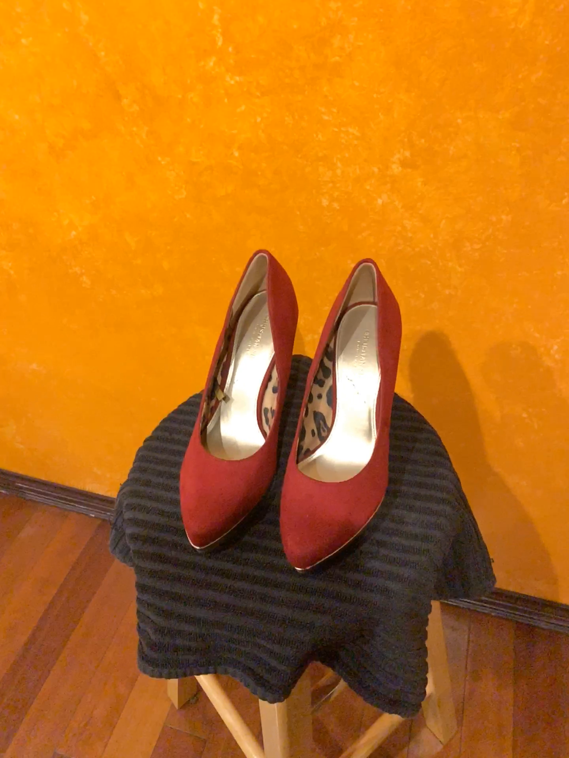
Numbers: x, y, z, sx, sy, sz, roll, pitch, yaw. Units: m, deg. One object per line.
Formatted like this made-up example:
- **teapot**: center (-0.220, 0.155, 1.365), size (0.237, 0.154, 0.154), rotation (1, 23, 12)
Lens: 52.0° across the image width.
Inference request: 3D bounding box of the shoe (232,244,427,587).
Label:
- **shoe**: center (0.048, 0.009, 0.490), size (0.093, 0.128, 0.271), rotation (12, 39, 11)

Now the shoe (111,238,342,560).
- **shoe**: center (-0.031, -0.005, 0.525), size (0.100, 0.119, 0.291), rotation (11, 39, 11)
